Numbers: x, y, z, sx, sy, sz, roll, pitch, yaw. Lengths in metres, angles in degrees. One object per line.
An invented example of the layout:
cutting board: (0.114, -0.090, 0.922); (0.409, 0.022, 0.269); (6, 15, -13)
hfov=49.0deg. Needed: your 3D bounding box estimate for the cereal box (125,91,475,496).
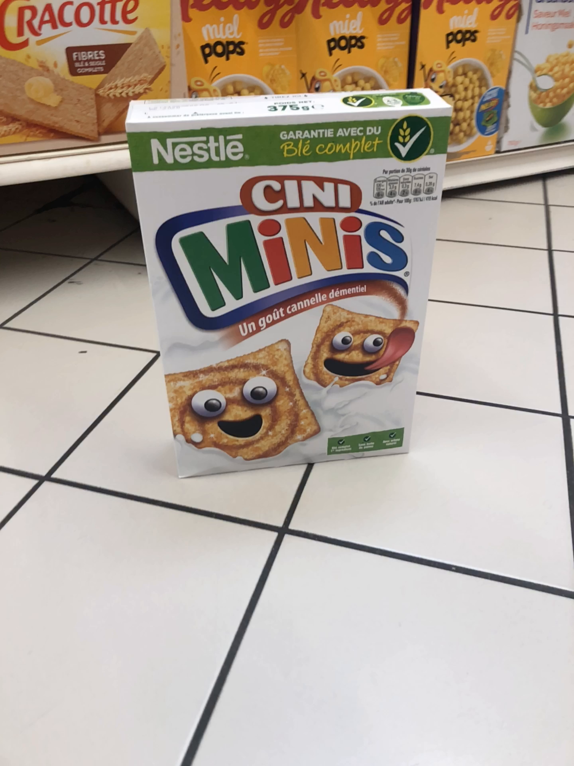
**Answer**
cereal box: (0.007, -0.055, 0.456); (0.200, 0.268, 0.070); (-6, 34, -8)
